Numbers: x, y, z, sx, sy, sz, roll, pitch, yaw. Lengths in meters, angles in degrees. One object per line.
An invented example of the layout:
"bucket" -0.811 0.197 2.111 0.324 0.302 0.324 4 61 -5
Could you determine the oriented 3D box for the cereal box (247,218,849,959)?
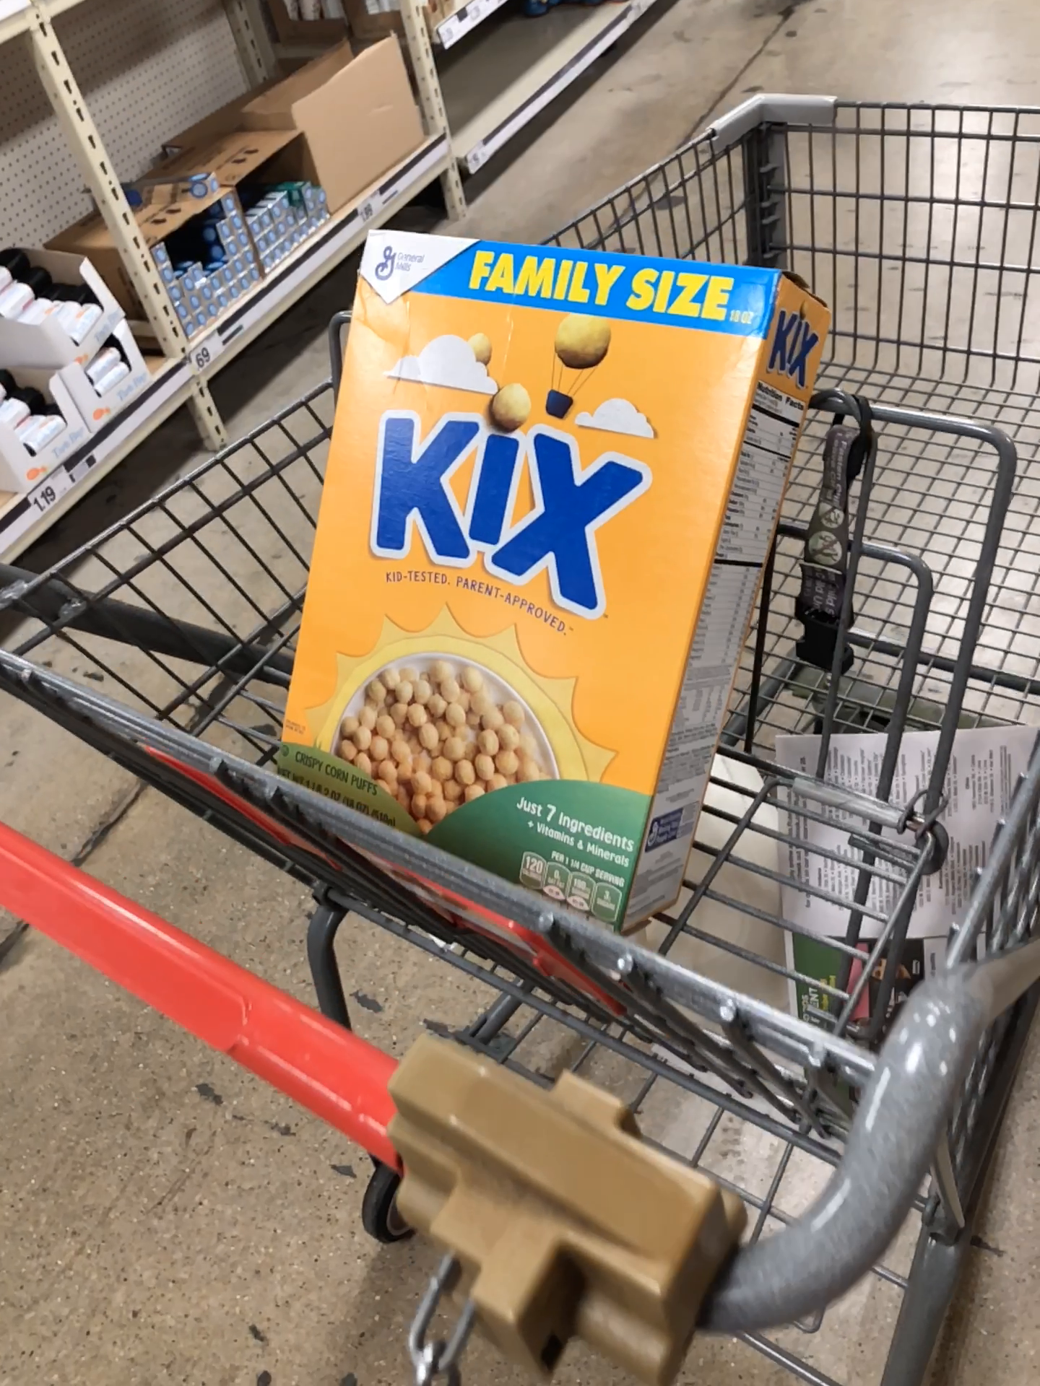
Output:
"cereal box" -0.003 -0.066 0.605 0.261 0.320 0.070 19 13 31
